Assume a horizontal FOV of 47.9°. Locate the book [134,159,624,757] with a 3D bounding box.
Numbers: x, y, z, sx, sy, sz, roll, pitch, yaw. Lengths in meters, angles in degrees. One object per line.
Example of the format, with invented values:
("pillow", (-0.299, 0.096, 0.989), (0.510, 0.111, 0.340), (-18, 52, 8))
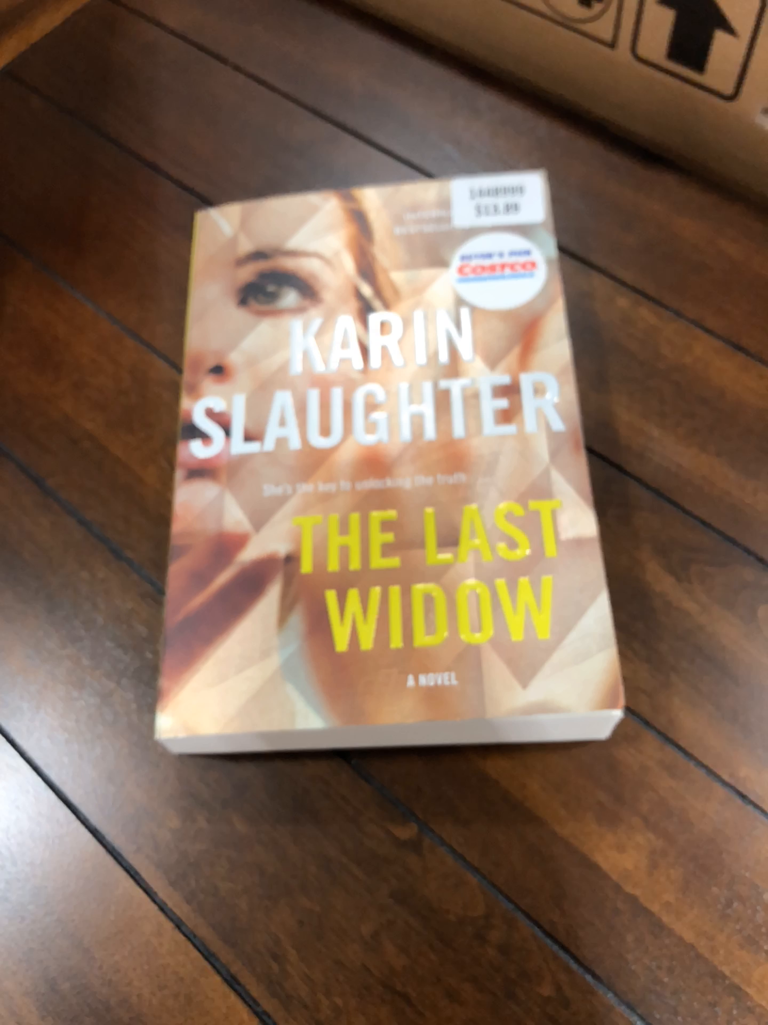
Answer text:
("book", (-0.003, -0.029, 0.338), (0.154, 0.042, 0.230), (-4, 64, 6))
